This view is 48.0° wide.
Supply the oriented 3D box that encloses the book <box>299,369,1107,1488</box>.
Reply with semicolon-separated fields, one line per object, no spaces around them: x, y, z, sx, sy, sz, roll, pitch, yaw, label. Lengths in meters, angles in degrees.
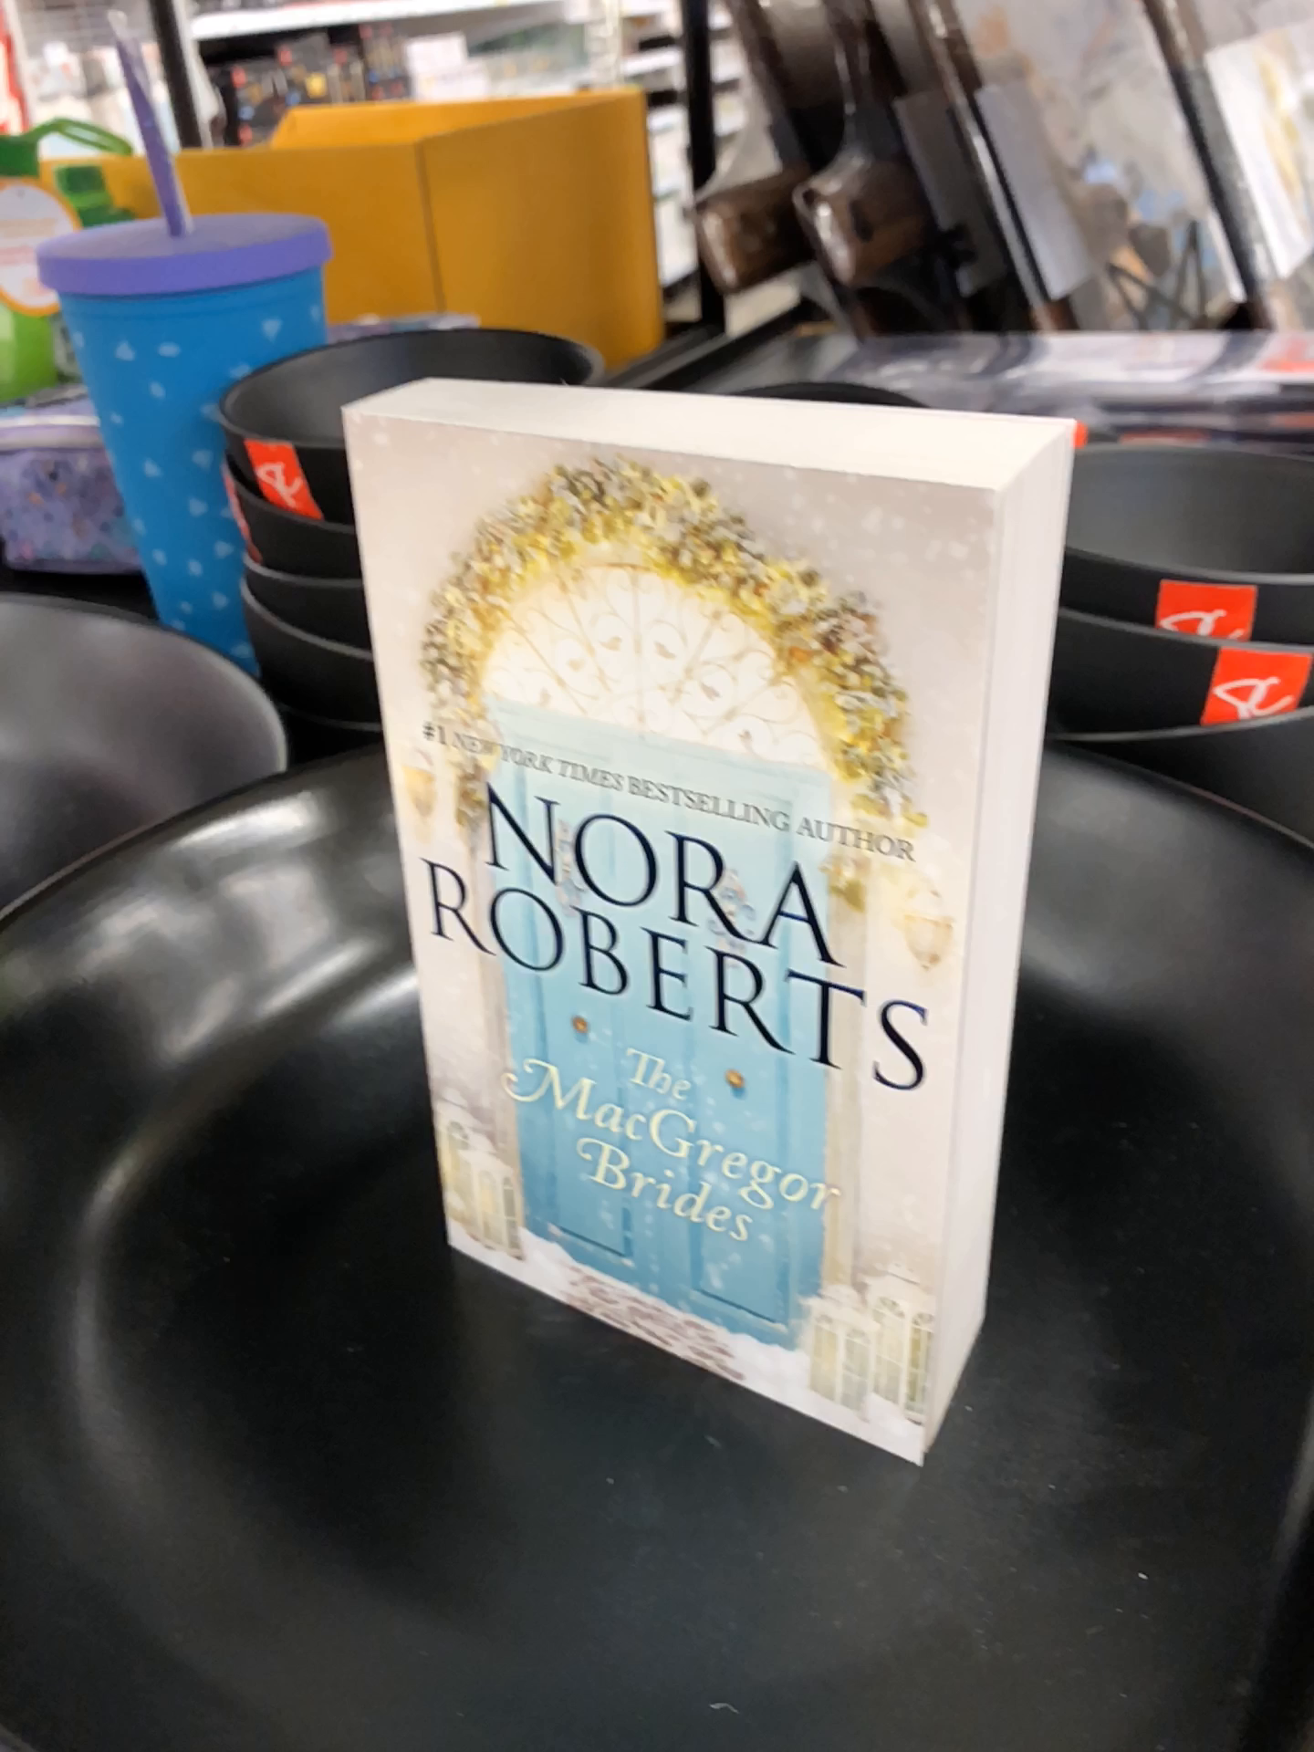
0.008;0.008;0.250;0.111;0.168;0.040;15;34;31;book
